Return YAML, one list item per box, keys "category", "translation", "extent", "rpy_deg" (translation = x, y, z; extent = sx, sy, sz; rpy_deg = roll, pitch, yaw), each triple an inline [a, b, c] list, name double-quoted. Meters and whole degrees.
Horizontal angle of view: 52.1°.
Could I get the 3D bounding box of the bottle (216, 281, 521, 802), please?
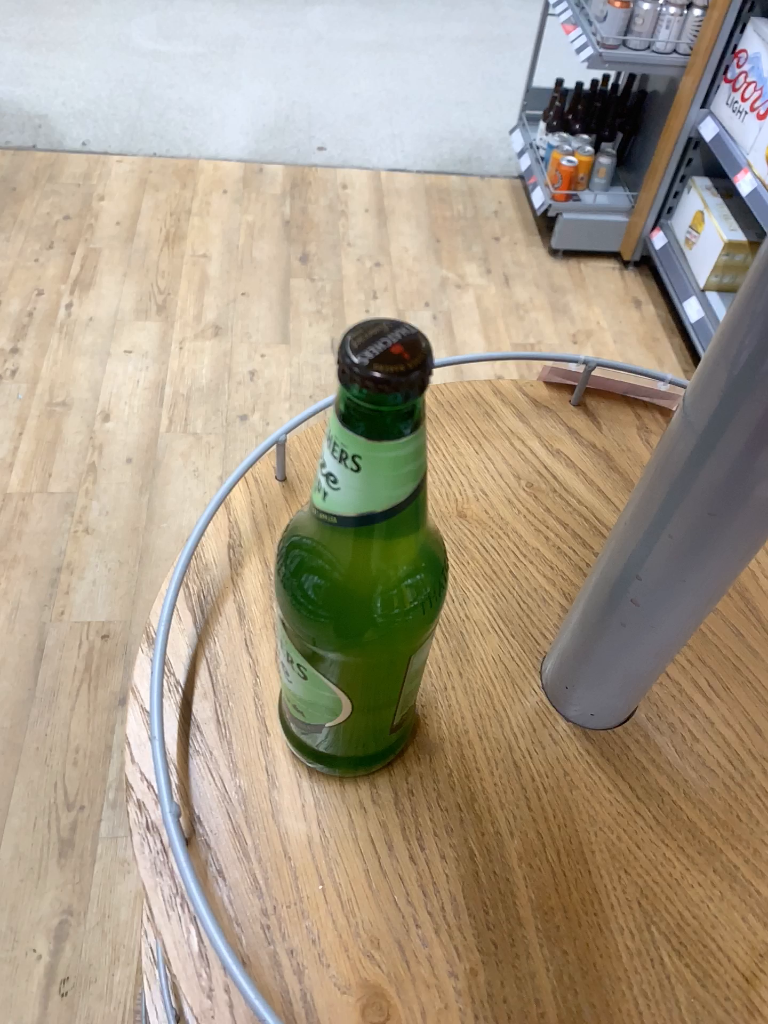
- category: "bottle"
  translation: [-0.011, 0.035, 0.316]
  extent: [0.078, 0.240, 0.070]
  rpy_deg: [9, 51, 1]
